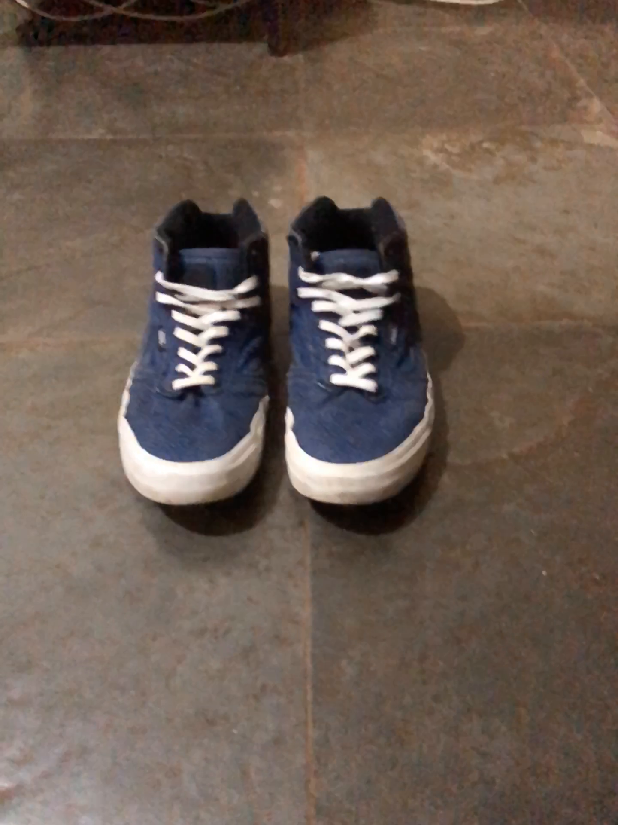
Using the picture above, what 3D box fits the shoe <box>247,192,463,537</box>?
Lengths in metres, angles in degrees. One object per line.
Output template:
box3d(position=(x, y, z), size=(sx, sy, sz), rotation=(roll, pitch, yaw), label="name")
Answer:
box3d(position=(0.035, -0.054, 0.508), size=(0.120, 0.089, 0.282), rotation=(2, 46, 3), label="shoe")

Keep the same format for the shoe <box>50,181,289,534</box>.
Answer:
box3d(position=(-0.083, -0.057, 0.519), size=(0.120, 0.109, 0.282), rotation=(0, 46, 1), label="shoe")
